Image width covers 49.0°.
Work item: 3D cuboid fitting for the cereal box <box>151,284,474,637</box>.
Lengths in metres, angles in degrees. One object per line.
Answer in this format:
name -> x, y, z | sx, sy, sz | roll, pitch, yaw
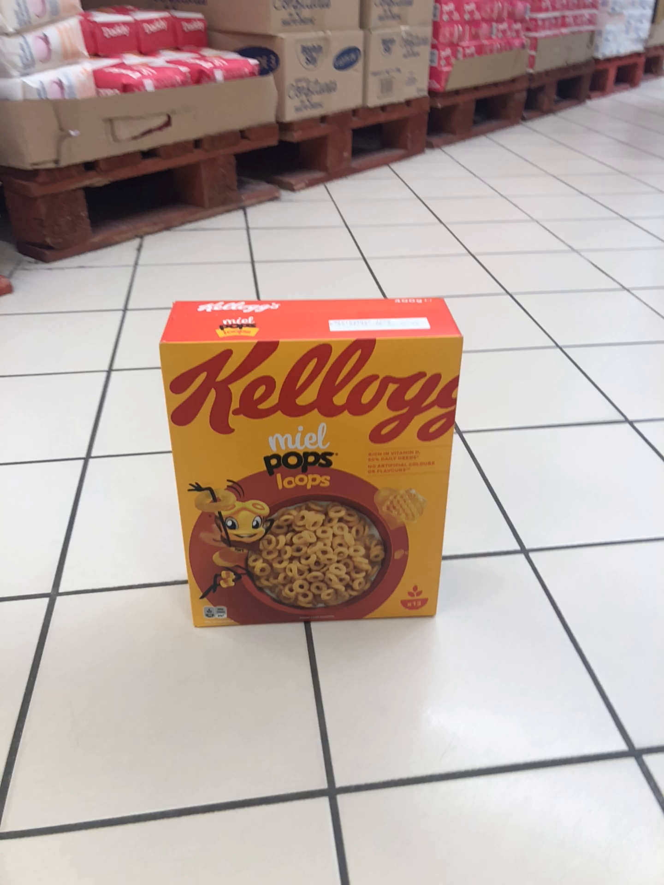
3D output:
cereal box -> -0.015, 0.017, 0.528 | 0.190, 0.239, 0.090 | -2, 32, -5
